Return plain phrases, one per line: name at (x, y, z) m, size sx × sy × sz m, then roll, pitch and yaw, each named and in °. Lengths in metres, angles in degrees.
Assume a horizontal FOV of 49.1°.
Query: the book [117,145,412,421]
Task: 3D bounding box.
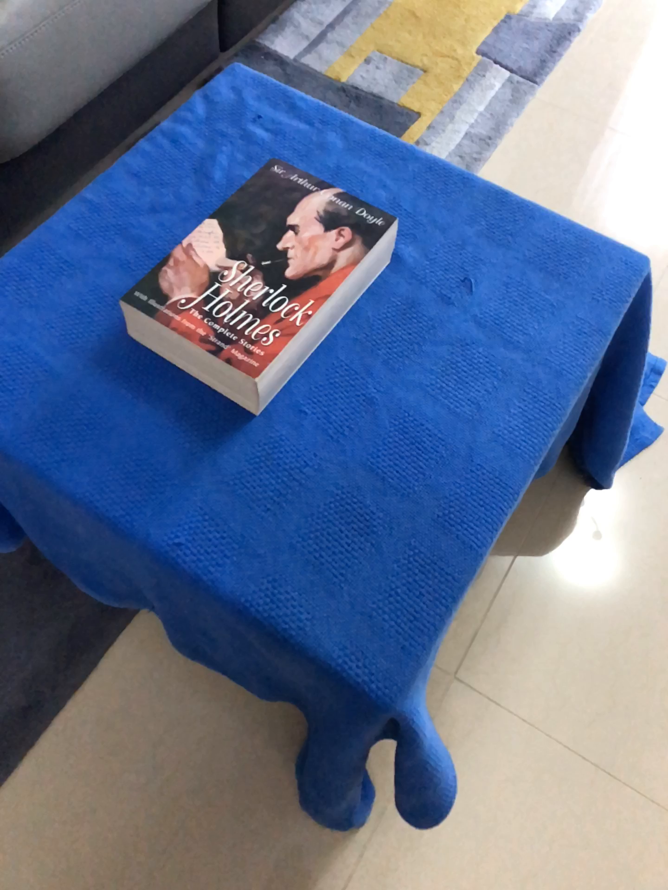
book at (-0.059, -0.164, 0.707) m, size 0.160 × 0.070 × 0.241 m, roll 31°, pitch 64°, yaw 14°
